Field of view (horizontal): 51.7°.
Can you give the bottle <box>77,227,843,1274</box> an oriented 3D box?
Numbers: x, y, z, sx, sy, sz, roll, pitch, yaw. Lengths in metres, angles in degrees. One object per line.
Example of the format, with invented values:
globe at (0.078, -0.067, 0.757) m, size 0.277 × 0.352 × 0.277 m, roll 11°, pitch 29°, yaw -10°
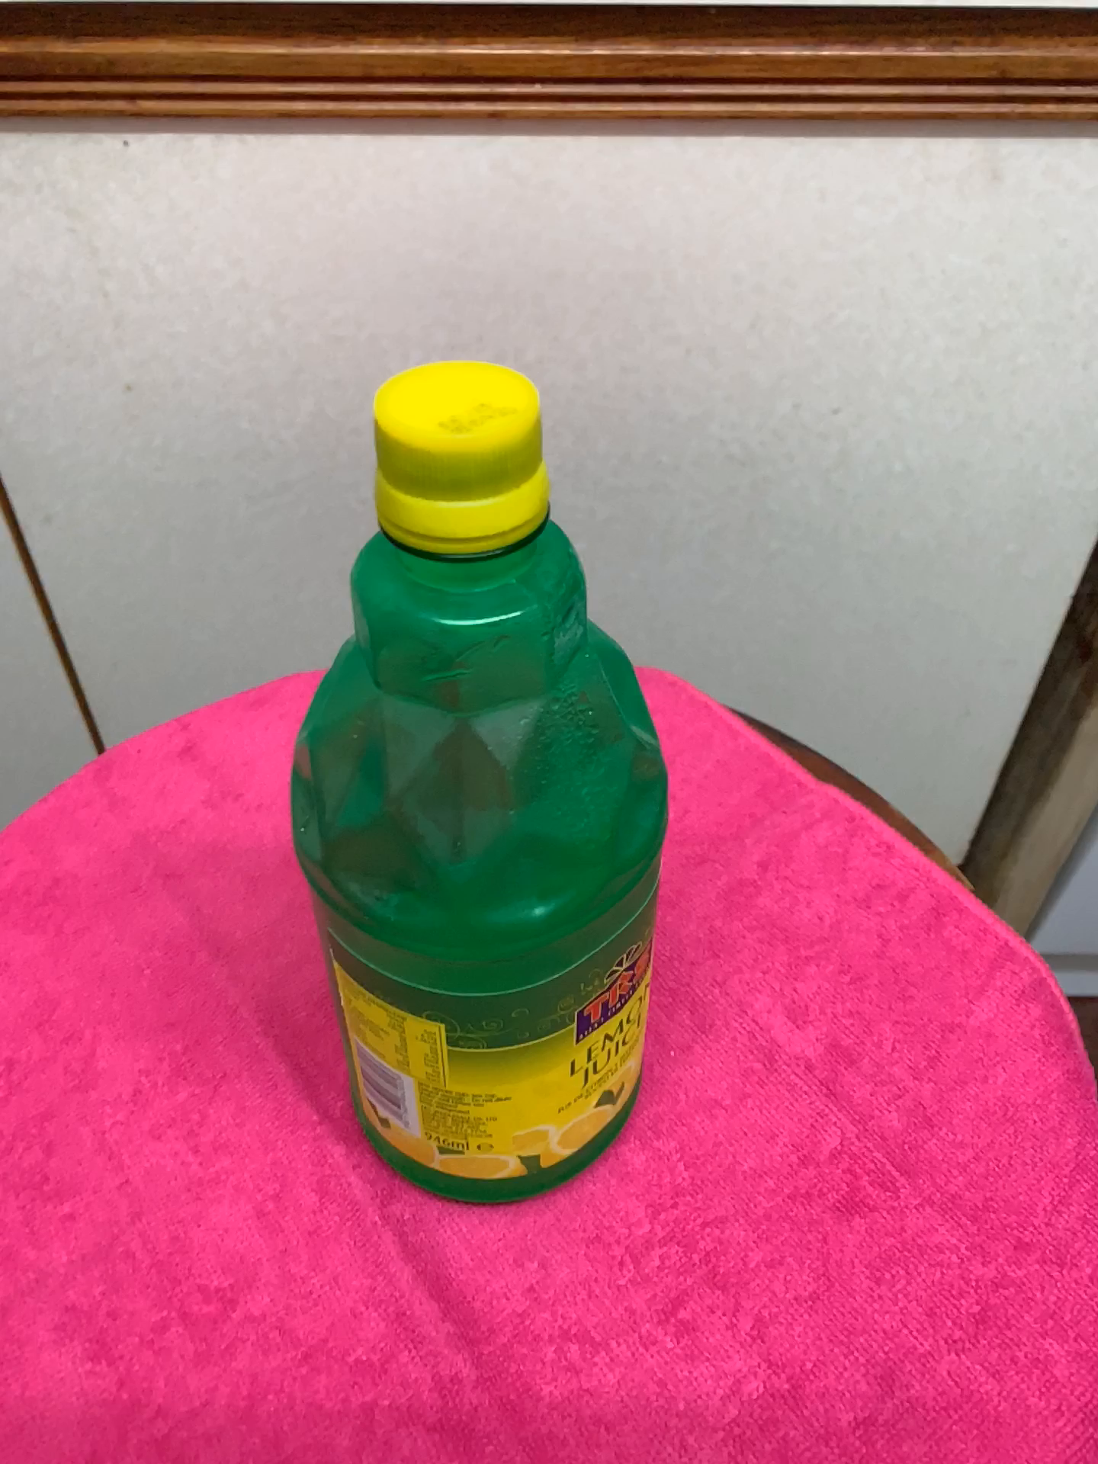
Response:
bottle at (-0.013, 0.019, 0.277) m, size 0.090 × 0.228 × 0.101 m, roll 27°, pitch 51°, yaw 24°
